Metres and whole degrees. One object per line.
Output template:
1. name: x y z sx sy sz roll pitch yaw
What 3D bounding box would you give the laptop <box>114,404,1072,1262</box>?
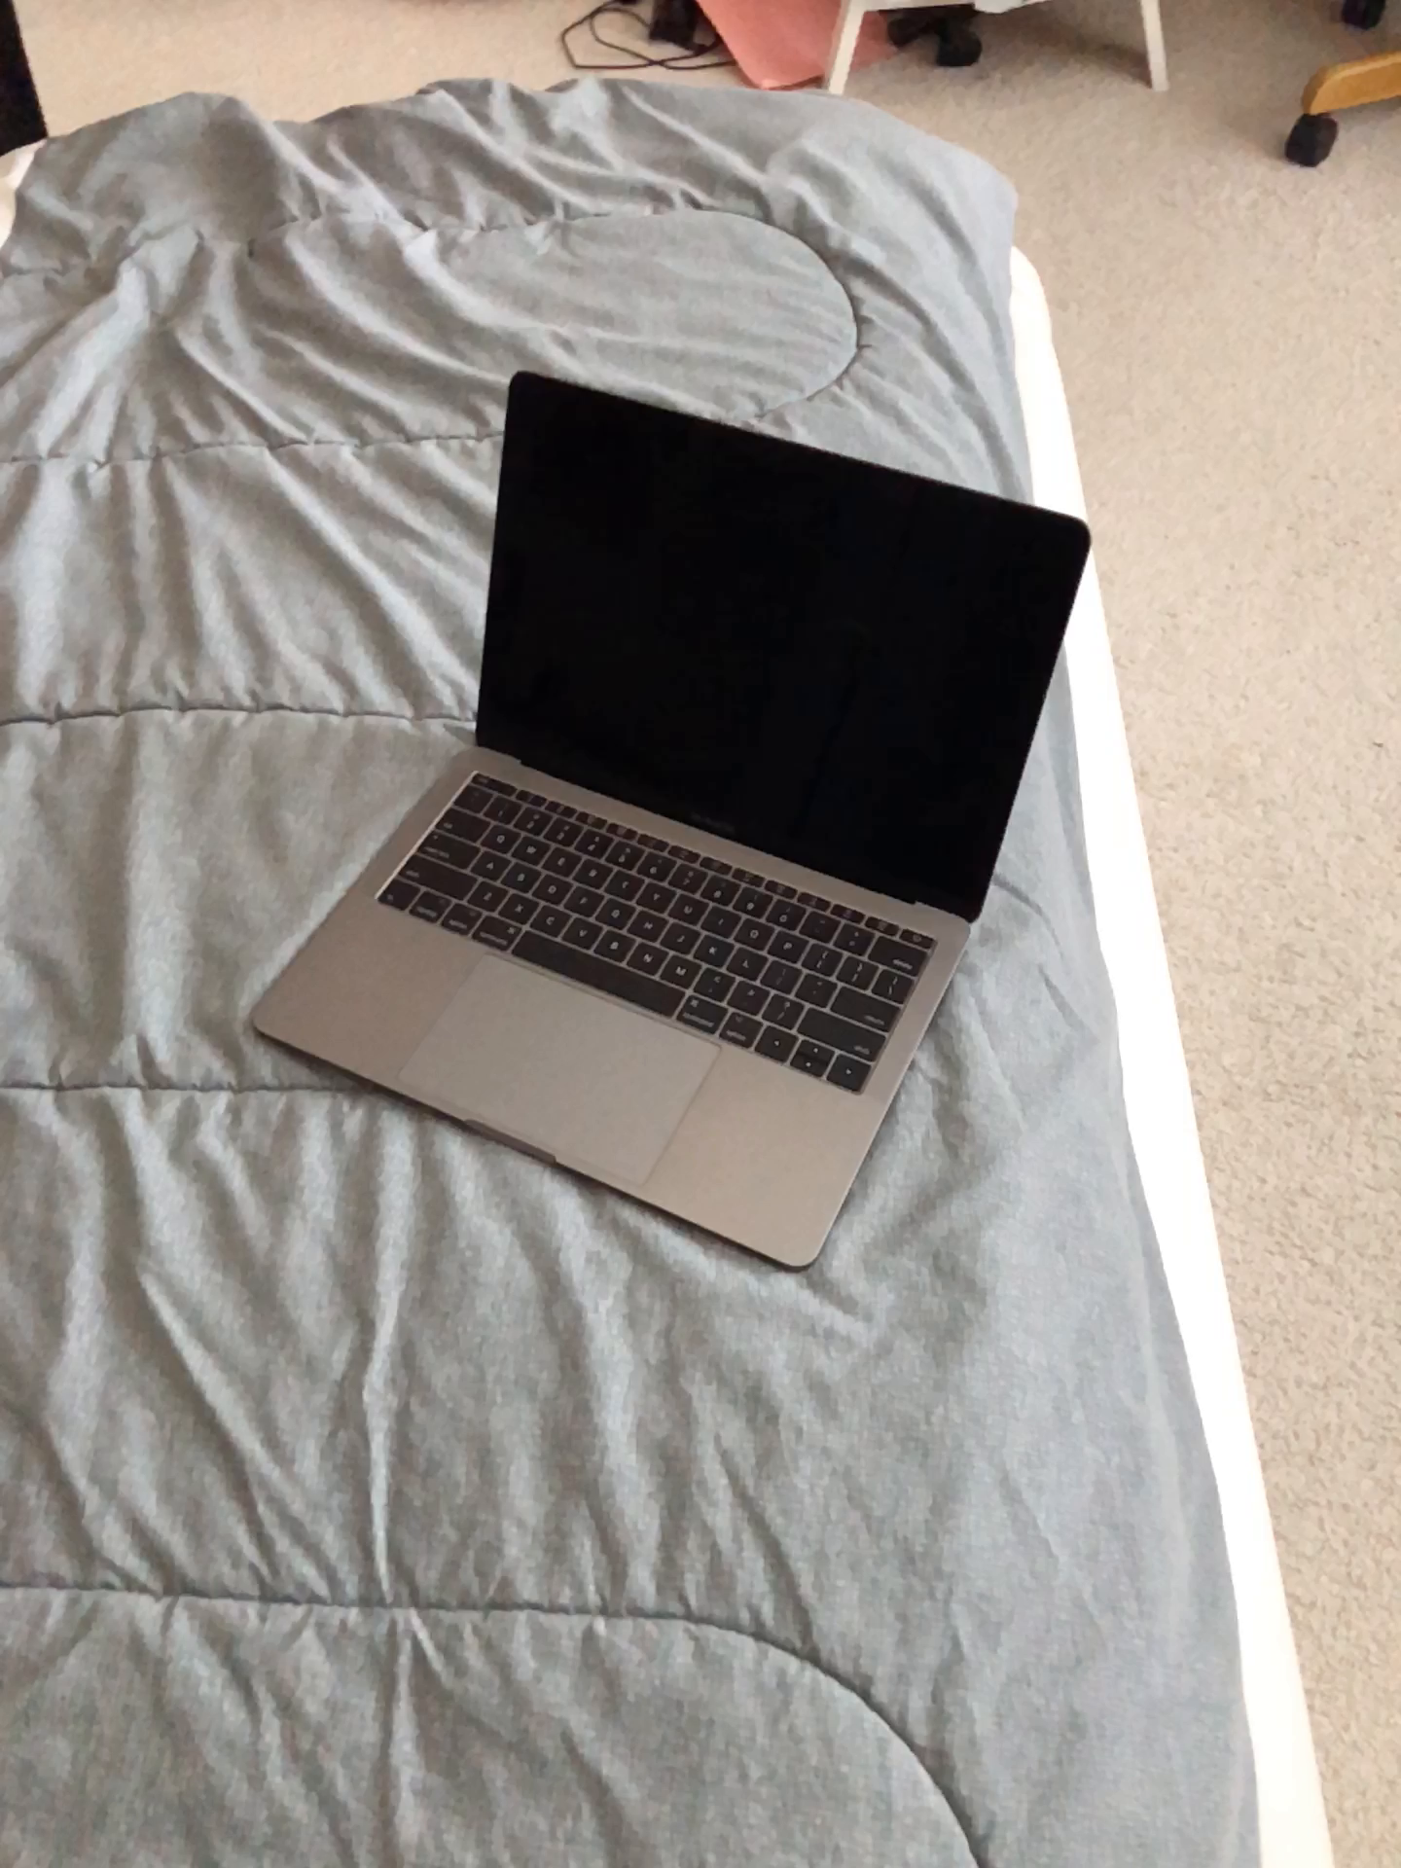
1. laptop: -0.027 -0.058 0.681 0.280 0.159 0.282 21 58 17
